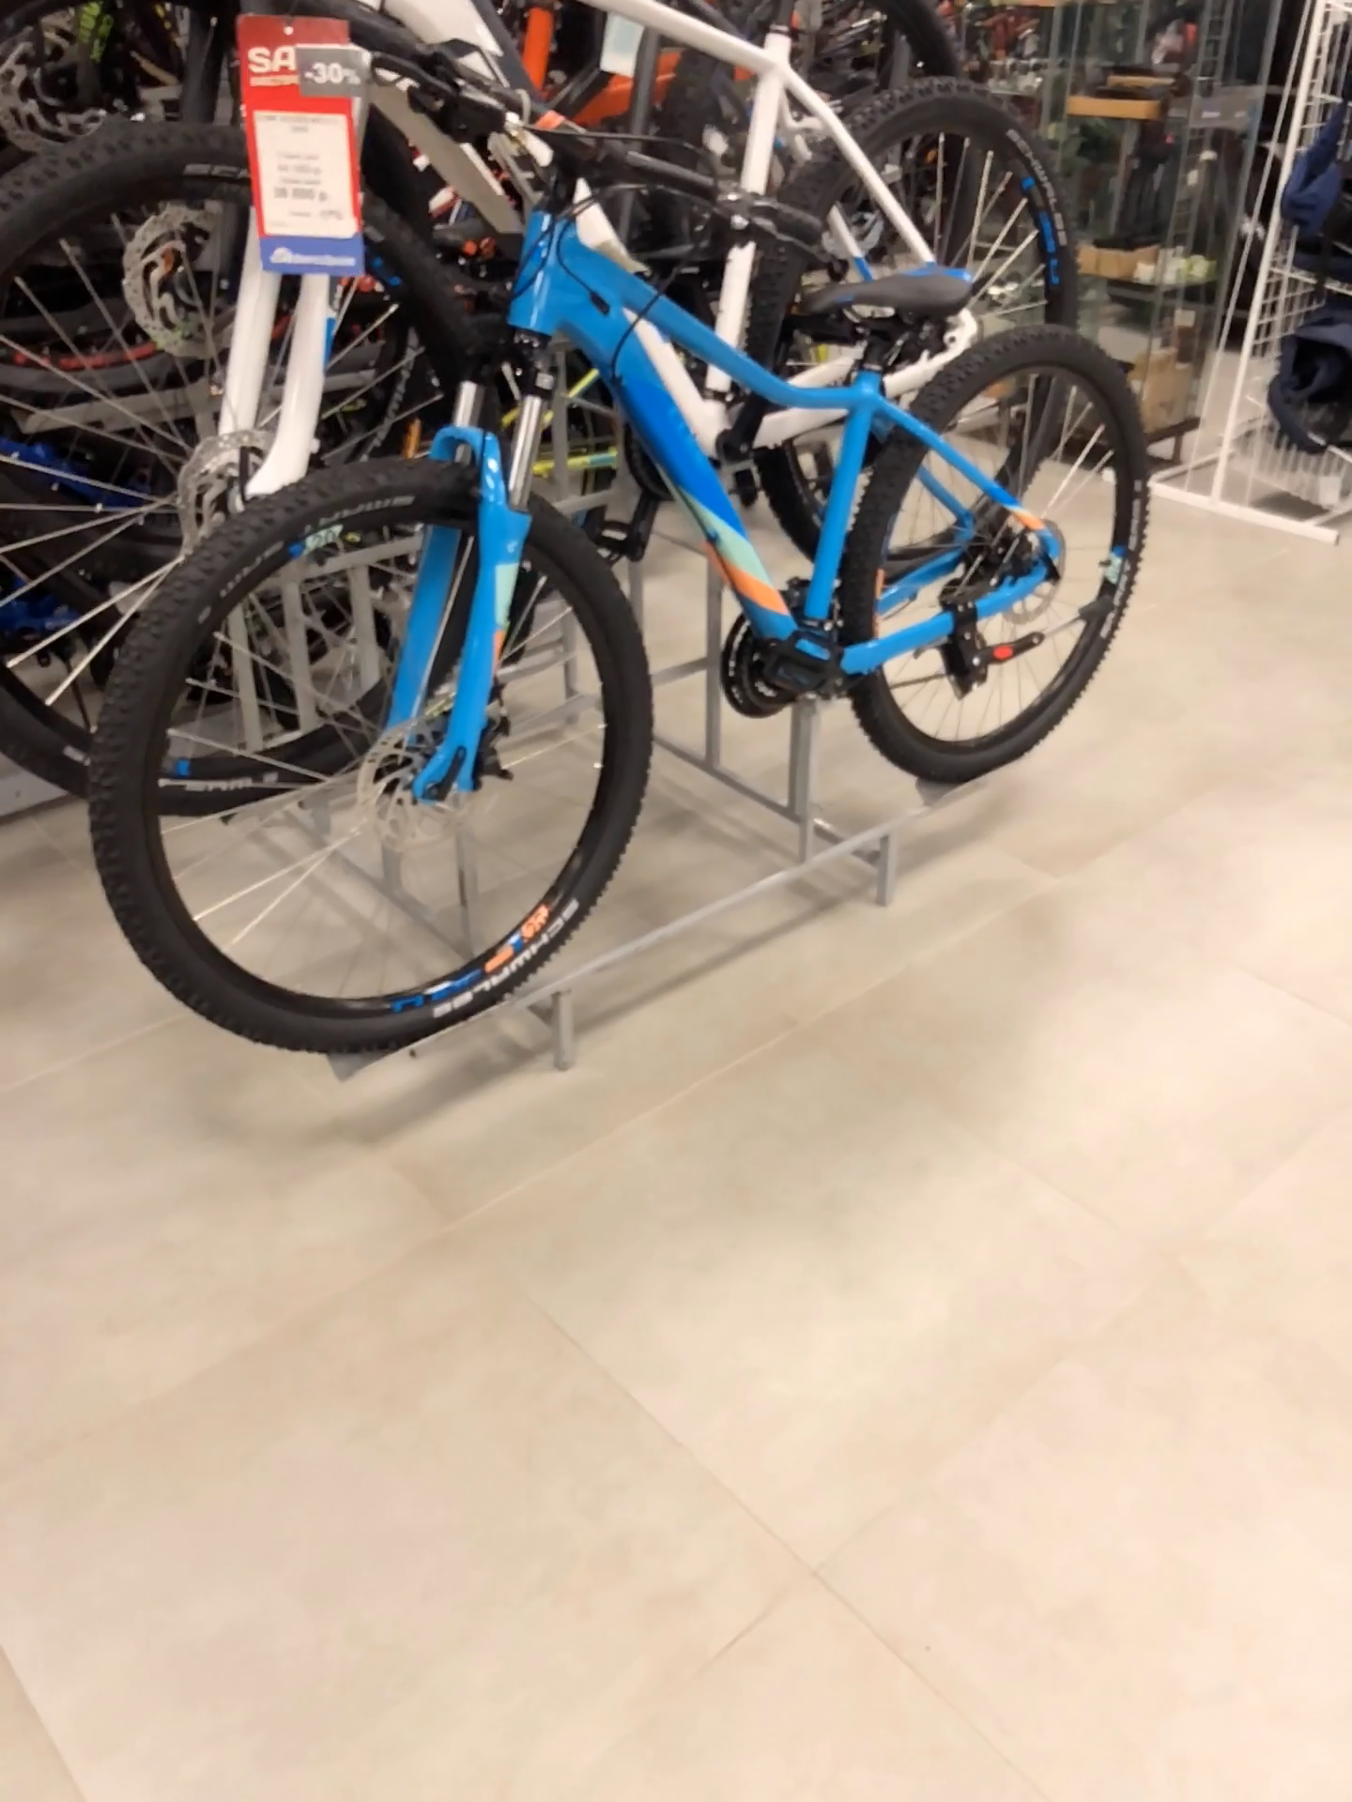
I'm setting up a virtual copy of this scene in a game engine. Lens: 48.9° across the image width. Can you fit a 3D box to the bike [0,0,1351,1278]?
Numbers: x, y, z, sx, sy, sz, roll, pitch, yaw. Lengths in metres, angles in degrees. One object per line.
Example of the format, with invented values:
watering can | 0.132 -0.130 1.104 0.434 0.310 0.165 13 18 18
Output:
bike | 0.014 -0.495 1.902 1.707 1.082 0.632 -25 40 -34
